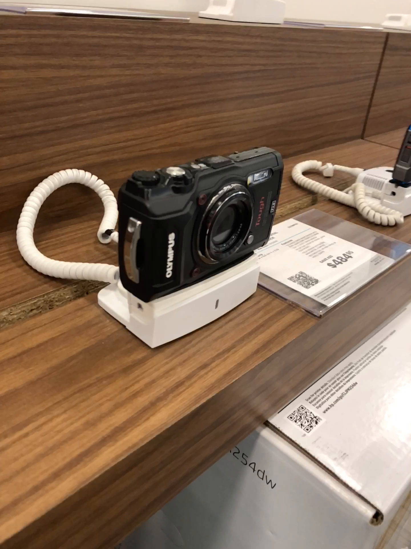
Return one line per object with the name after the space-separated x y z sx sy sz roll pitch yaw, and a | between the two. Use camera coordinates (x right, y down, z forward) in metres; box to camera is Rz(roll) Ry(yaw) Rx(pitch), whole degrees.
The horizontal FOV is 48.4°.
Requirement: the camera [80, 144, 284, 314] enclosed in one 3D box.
-0.007 -0.031 0.257 0.030 0.060 0.120 28 37 36 | camera
